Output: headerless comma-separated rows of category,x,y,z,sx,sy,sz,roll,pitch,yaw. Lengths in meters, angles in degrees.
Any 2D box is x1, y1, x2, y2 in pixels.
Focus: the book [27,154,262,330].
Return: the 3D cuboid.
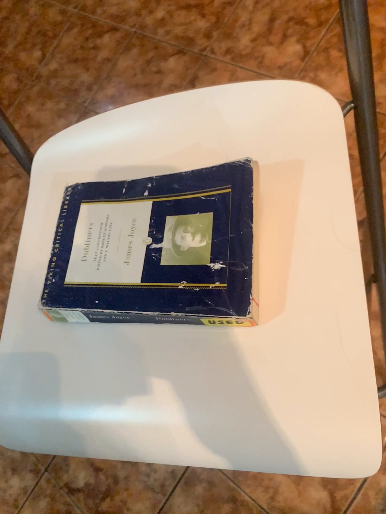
book,-0.043,-0.008,0.344,0.198,0.035,0.132,-3,74,21
